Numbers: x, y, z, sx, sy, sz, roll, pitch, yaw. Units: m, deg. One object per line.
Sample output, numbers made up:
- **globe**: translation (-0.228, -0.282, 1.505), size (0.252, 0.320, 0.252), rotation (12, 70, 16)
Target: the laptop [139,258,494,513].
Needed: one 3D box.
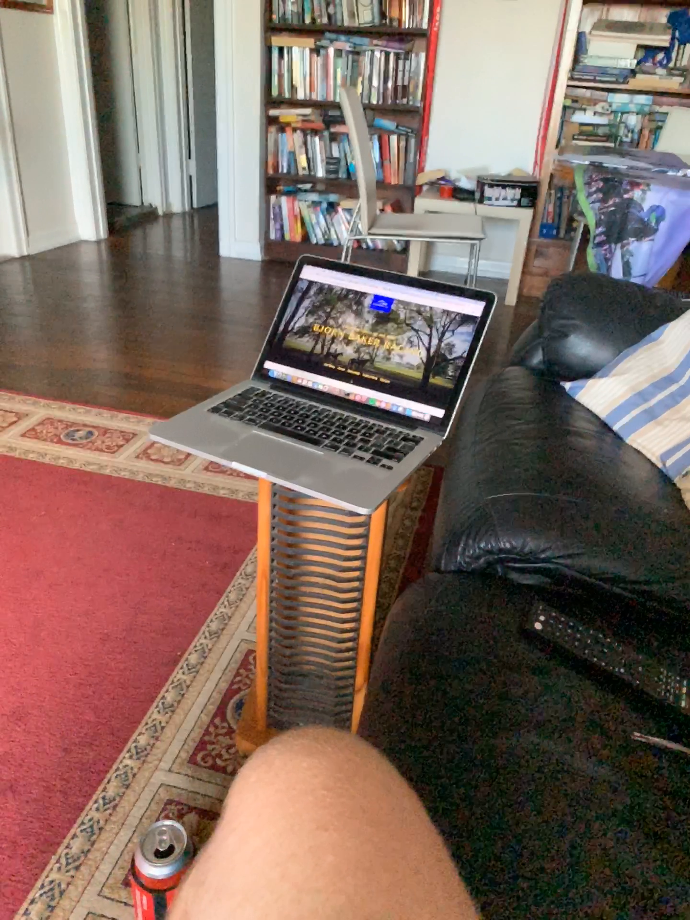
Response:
- **laptop**: translation (-0.022, -0.126, 0.906), size (0.313, 0.161, 0.341), rotation (18, 30, 24)
